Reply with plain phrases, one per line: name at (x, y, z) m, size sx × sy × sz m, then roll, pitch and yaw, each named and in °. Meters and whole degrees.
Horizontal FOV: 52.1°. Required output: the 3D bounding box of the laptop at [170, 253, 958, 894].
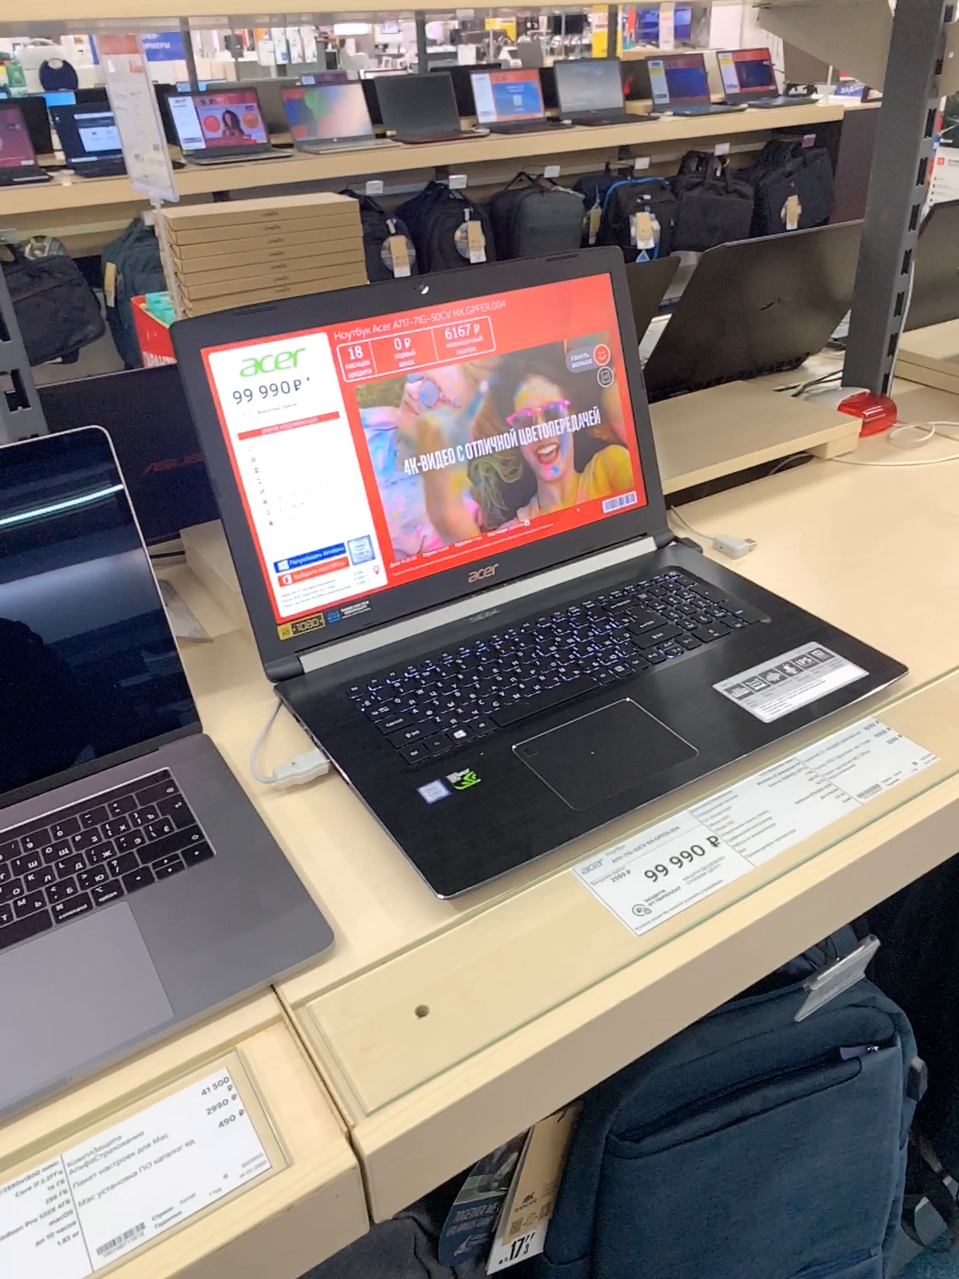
laptop at (0.054, -0.100, 0.722) m, size 0.407 × 0.248 × 0.363 m, roll -20°, pitch 36°, yaw -27°
